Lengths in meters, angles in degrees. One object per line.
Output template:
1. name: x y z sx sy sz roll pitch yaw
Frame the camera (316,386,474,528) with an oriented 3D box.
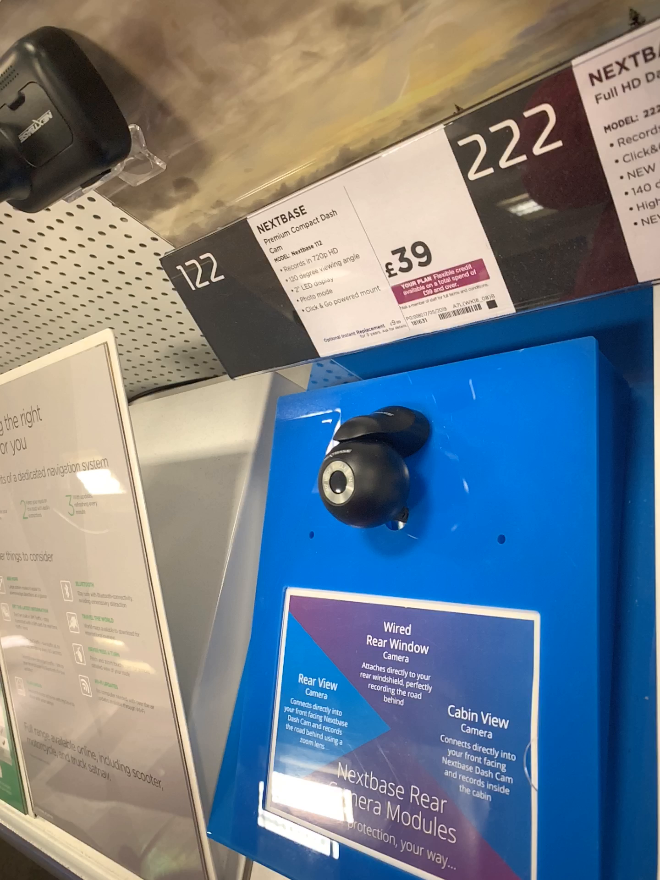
1. camera: 0.026 0.010 0.272 0.040 0.050 0.050 -8 79 43
